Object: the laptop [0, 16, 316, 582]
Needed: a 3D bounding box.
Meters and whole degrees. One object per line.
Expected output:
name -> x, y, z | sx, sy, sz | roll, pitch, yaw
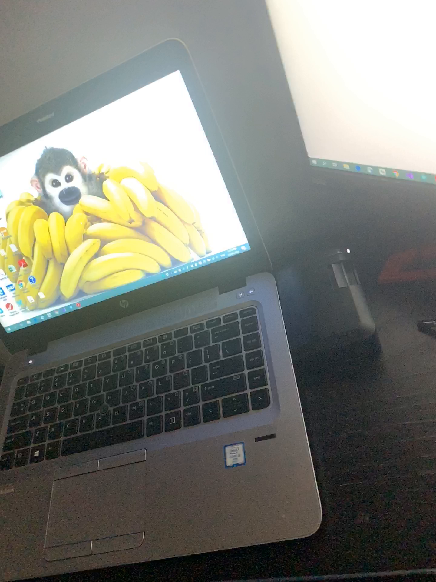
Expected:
laptop -> -0.131, 0.012, 0.374 | 0.318, 0.191, 0.327 | -19, 48, 17
